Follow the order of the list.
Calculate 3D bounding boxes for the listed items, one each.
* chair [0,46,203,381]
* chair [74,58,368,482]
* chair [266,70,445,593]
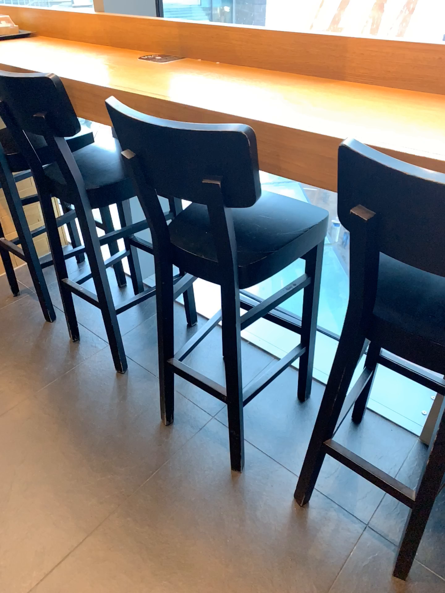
[{"bbox_3d":[-0.393,-0.277,1.604,0.394,1.001,0.462,27,45,34],"label":"chair"},{"bbox_3d":[0.015,-0.063,1.279,0.454,1.001,0.463,24,43,31],"label":"chair"},{"bbox_3d":[0.421,0.107,1.007,0.424,1.001,0.463,26,44,32],"label":"chair"}]
